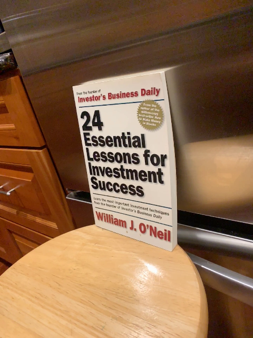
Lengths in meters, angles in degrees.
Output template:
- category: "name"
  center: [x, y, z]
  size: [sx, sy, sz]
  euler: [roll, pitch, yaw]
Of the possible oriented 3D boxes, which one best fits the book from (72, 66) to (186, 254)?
- category: "book"
  center: [0.002, -0.010, 0.369]
  size: [0.151, 0.229, 0.030]
  euler: [7, 21, 41]
